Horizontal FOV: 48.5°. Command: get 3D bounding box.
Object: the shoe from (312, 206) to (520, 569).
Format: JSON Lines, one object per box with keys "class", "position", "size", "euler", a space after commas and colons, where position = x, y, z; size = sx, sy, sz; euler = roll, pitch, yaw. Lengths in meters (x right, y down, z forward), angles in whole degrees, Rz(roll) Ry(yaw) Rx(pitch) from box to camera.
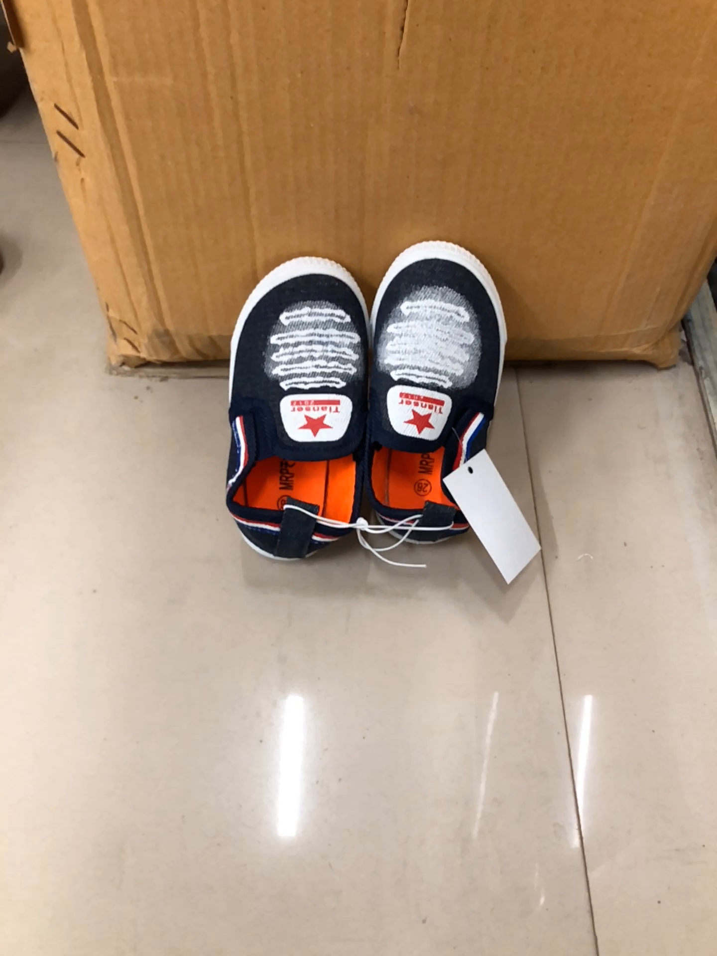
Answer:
{"class": "shoe", "position": [0.026, -0.049, 0.396], "size": [0.080, 0.159, 0.081], "euler": [5, 18, 4]}
